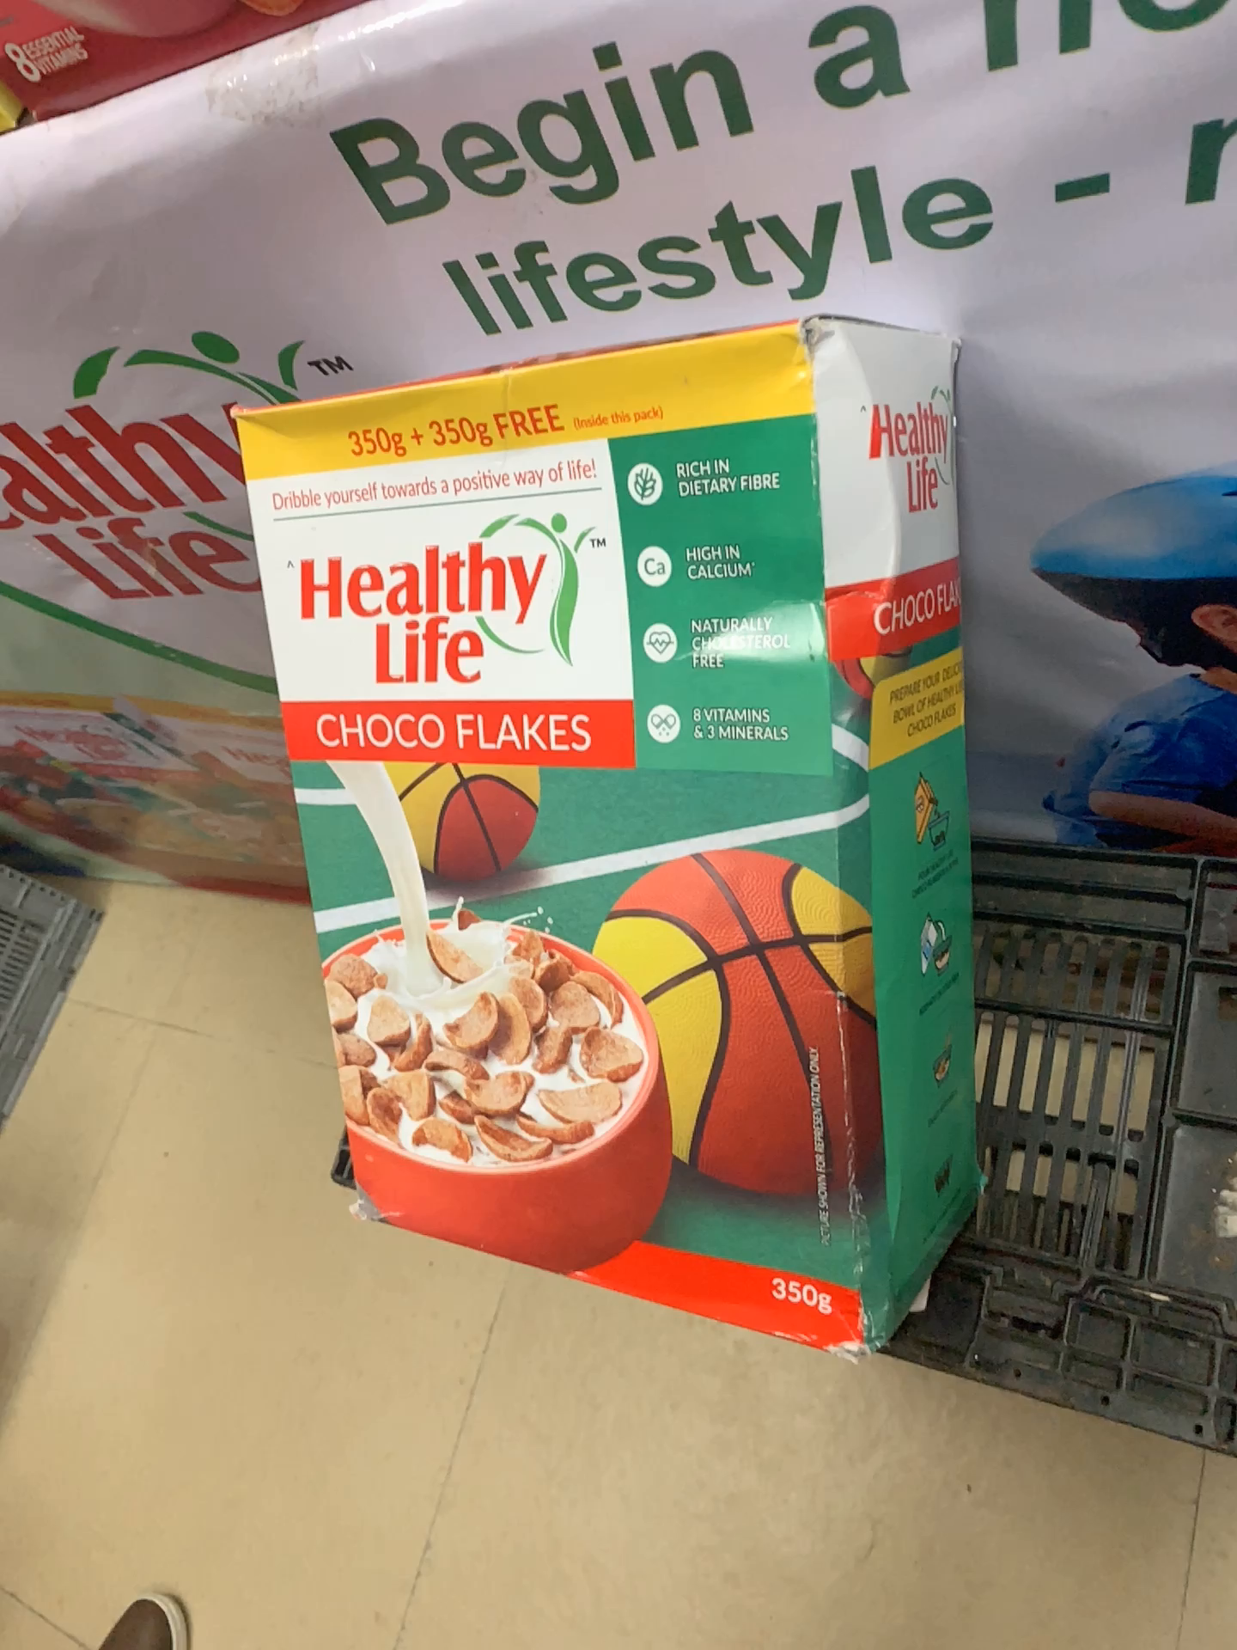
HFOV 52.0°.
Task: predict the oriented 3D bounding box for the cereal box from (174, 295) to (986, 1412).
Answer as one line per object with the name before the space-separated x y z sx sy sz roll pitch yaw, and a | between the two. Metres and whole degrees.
cereal box | -0.007 0.005 0.397 0.211 0.090 0.280 3 107 33
